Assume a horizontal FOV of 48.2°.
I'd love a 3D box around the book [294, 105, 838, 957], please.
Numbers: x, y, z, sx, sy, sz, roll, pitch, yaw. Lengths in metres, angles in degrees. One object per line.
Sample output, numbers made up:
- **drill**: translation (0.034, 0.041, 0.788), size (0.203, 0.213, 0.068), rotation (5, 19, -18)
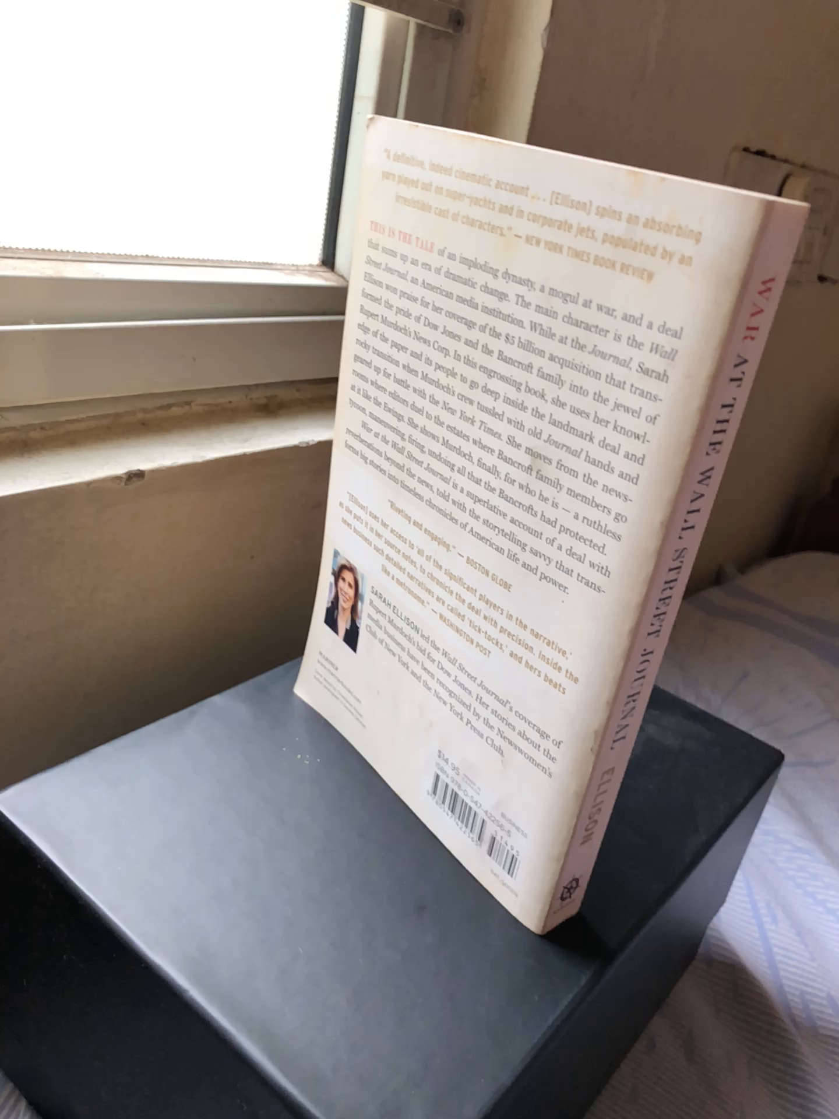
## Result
- **book**: translation (0.022, -0.016, 0.274), size (0.030, 0.199, 0.150), rotation (-9, 29, -36)
